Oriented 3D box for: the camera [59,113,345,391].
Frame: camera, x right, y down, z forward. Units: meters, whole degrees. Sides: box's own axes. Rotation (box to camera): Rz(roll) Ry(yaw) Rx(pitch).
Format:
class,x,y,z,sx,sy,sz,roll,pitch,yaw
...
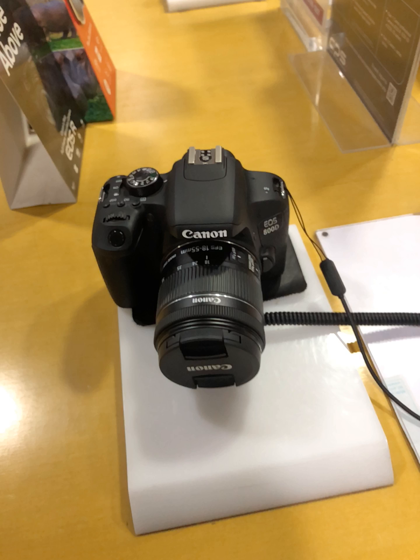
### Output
class,x,y,z,sx,sy,sz,roll,pitch,yaw
camera,-0.001,-0.017,0.272,0.120,0.090,0.131,-2,51,3
